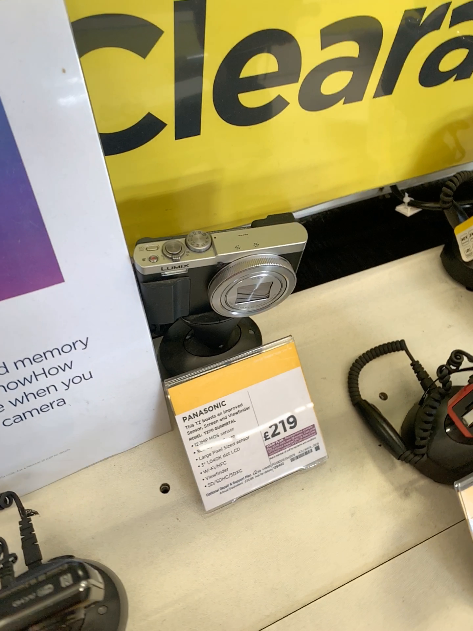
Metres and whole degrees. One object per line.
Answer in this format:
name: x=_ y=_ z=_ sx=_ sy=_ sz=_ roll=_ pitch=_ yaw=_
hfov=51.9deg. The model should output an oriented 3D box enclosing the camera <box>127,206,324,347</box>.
camera: x=-0.009 y=-0.024 z=0.317 sx=0.110 sy=0.070 sz=0.040 roll=-11 pitch=59 yaw=-13
